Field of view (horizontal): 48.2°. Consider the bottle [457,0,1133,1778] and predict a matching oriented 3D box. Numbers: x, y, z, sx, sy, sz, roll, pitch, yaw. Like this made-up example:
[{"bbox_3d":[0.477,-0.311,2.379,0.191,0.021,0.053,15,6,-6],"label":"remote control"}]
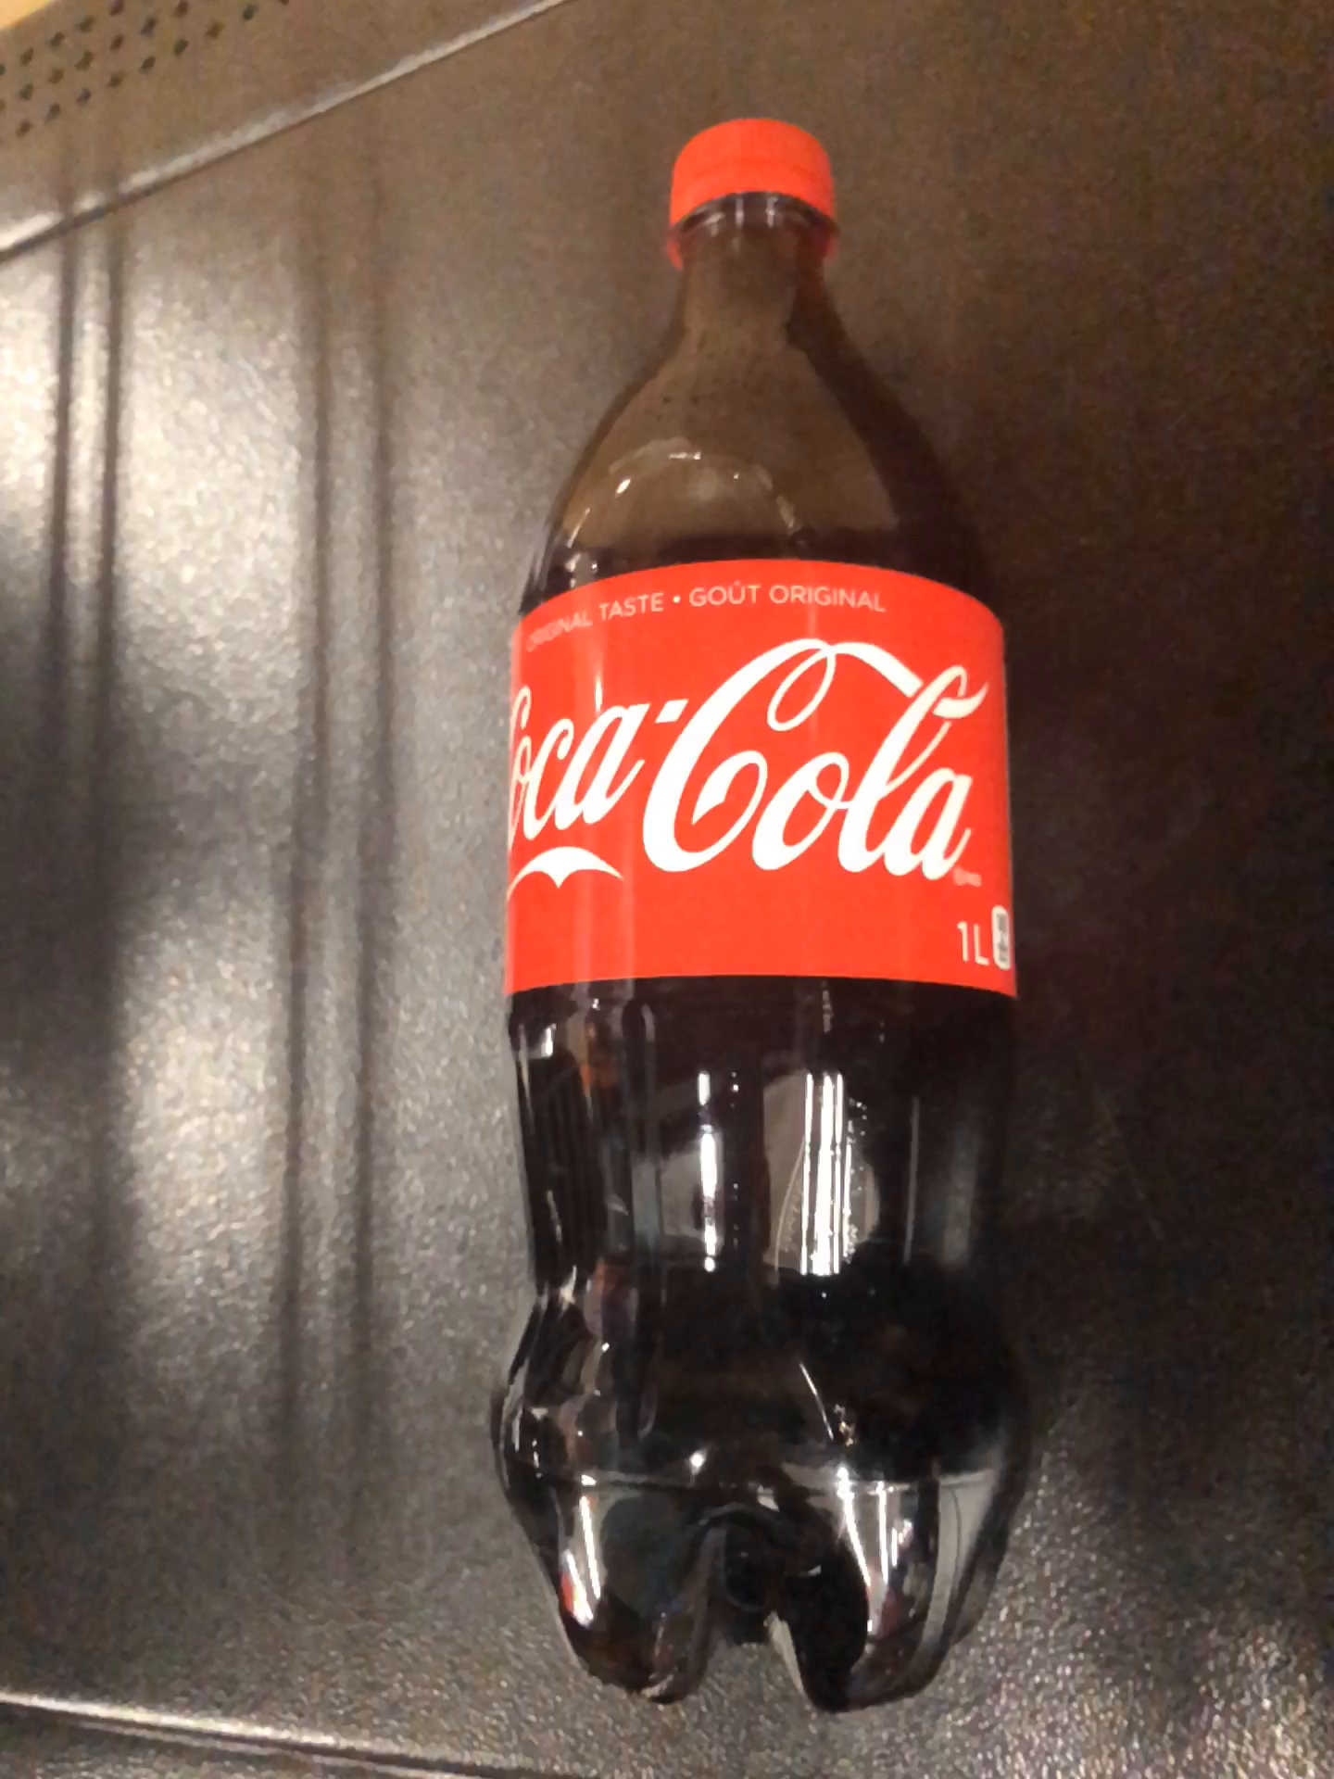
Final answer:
[{"bbox_3d":[0.022,-0.008,0.251,0.080,0.080,0.260,-6,80,27],"label":"bottle"}]
